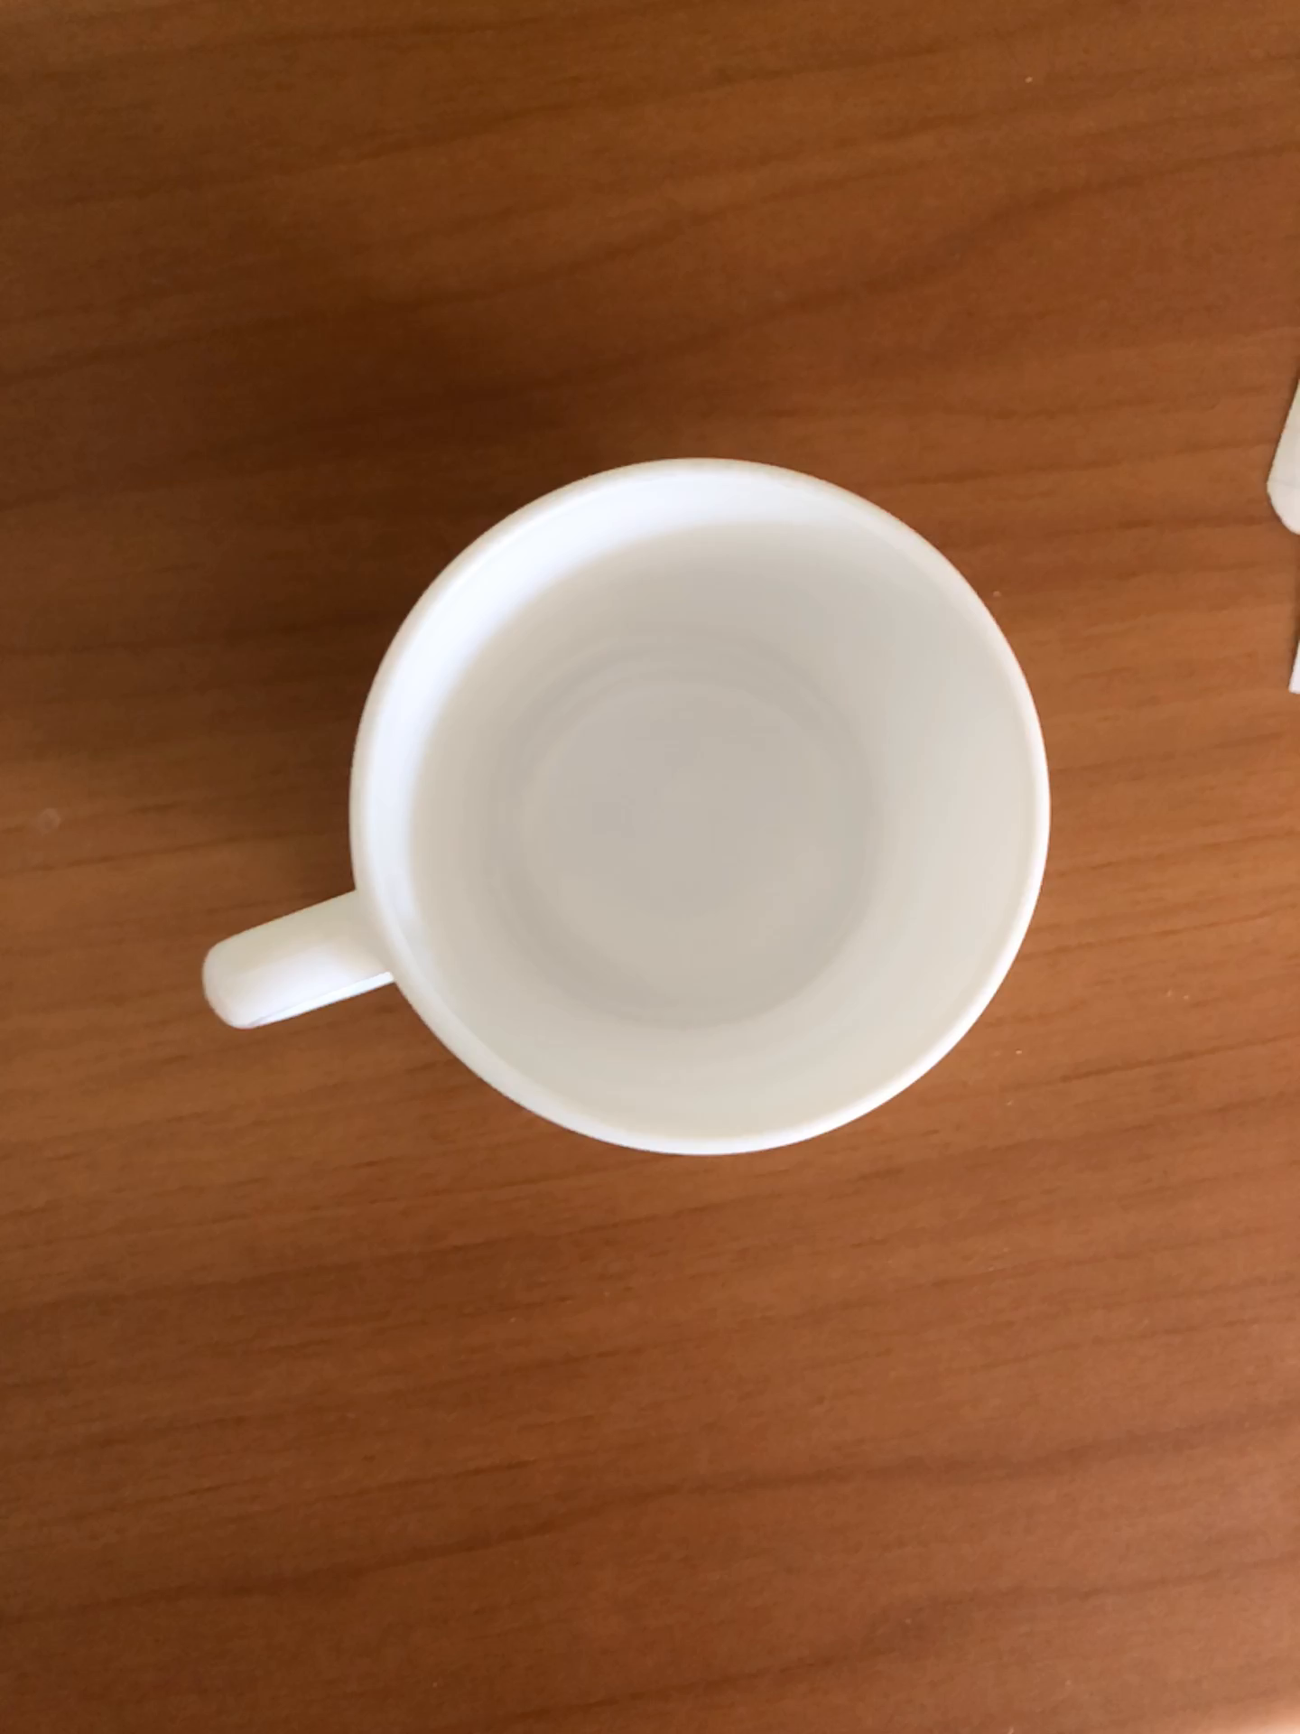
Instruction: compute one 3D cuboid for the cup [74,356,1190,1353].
[{"bbox_3d":[-0.002,-0.002,0.183,0.100,0.050,0.080,-18,88,-3],"label":"cup"}]
